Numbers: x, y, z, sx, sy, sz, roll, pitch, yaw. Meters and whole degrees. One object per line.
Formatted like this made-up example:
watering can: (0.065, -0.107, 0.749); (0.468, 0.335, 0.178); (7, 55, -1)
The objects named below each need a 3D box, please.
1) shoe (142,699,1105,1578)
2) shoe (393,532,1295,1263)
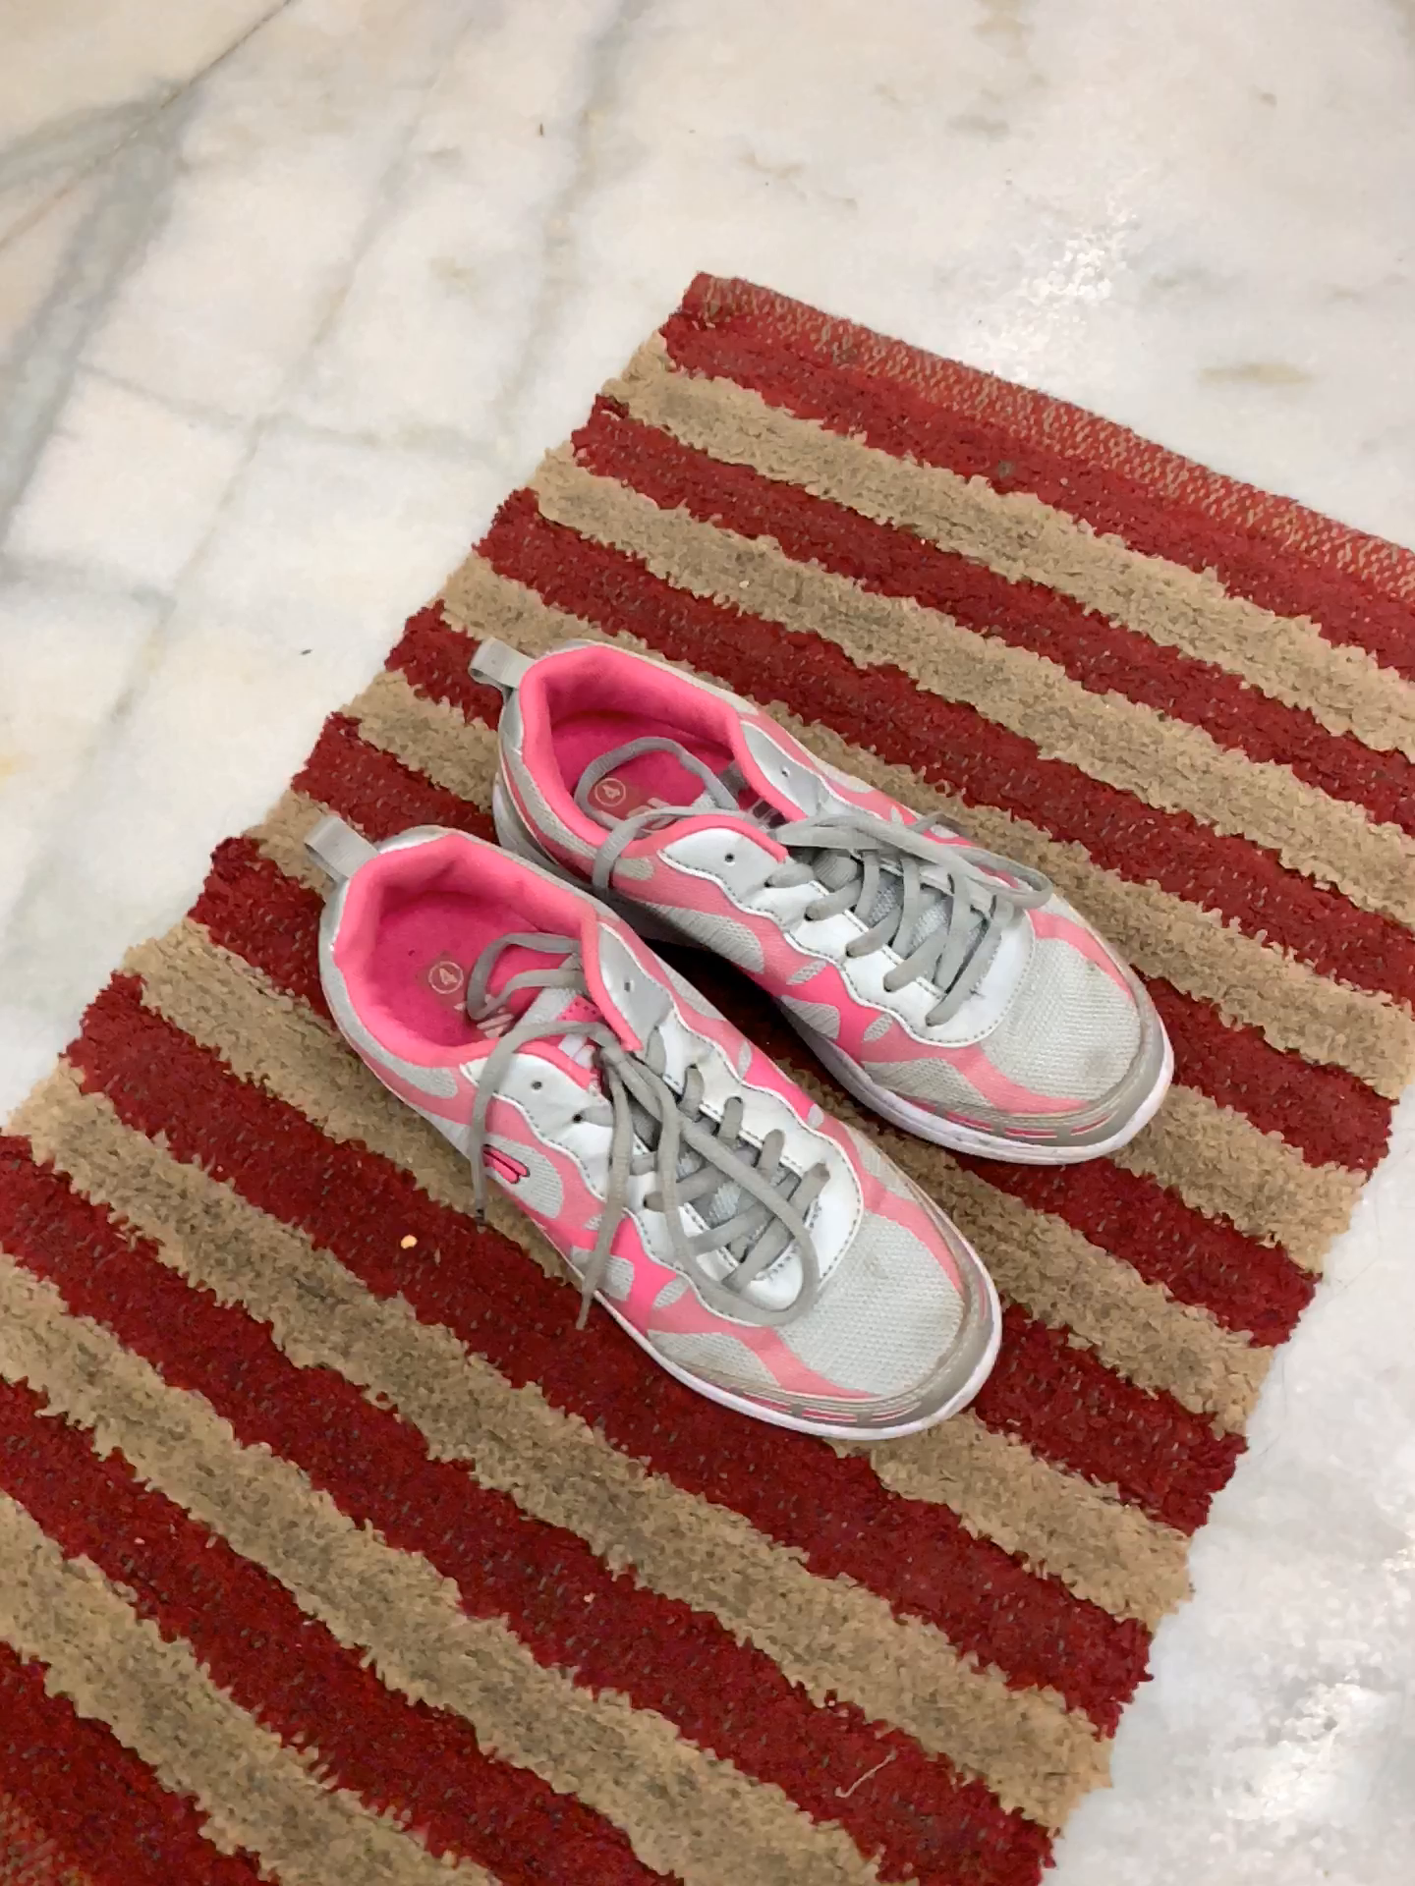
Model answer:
shoe: (-0.025, 0.053, 0.404); (0.231, 0.100, 0.100); (37, 74, 18)
shoe: (0.035, -0.014, 0.439); (0.230, 0.100, 0.090); (30, 73, 16)
